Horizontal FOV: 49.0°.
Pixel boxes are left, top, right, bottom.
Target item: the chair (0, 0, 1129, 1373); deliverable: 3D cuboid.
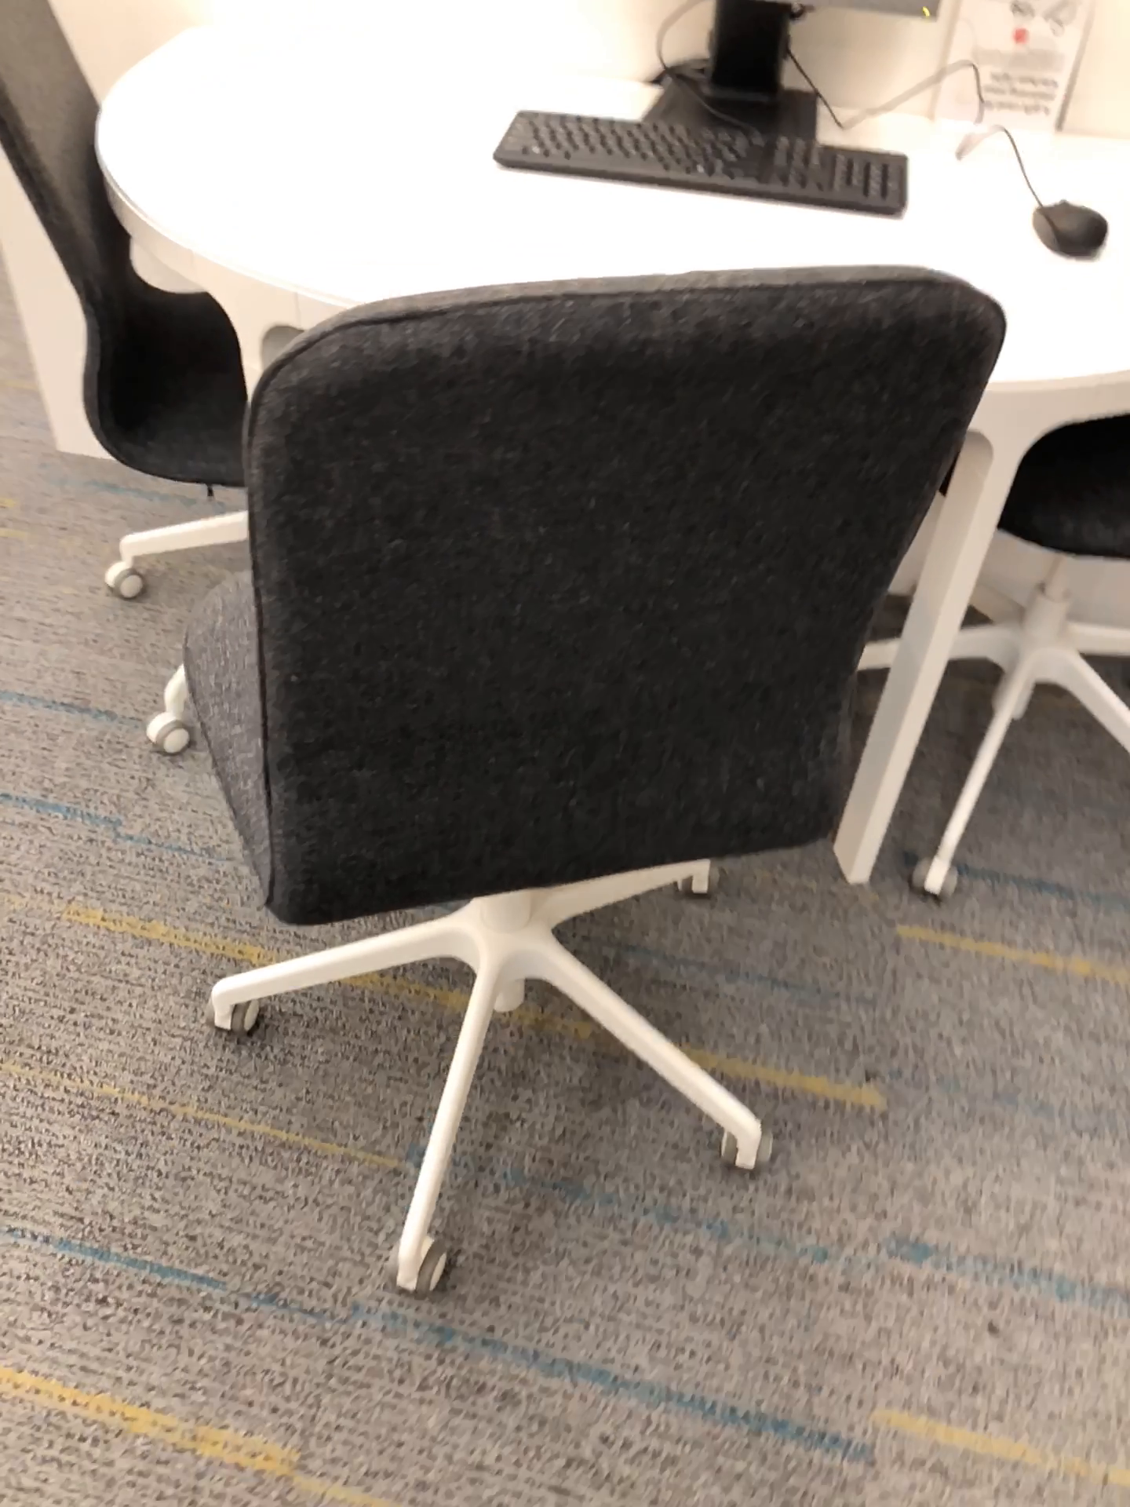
[{"bbox_3d":[-0.066,-0.036,1.058,0.630,0.993,0.634,-6,46,-9],"label":"chair"}]
